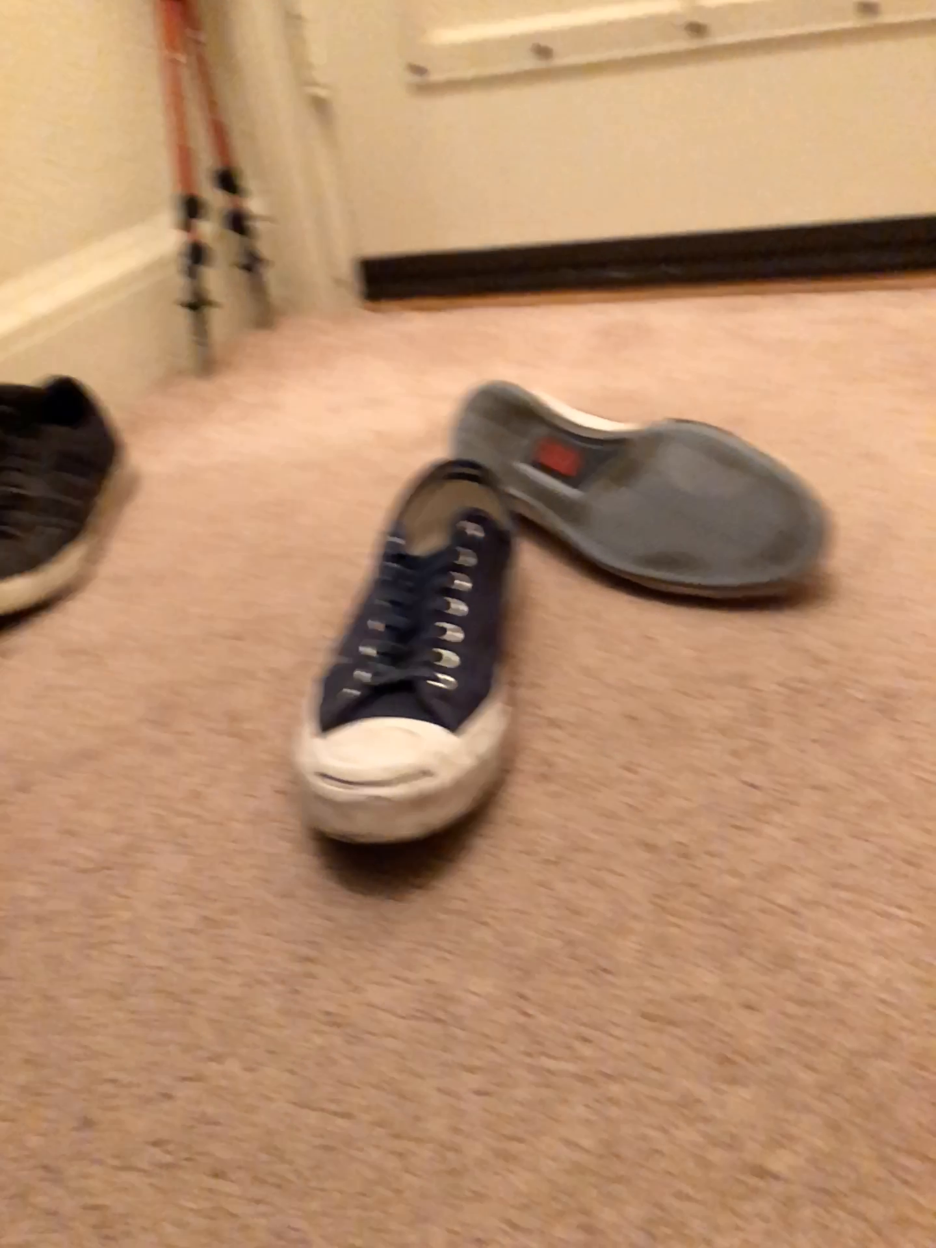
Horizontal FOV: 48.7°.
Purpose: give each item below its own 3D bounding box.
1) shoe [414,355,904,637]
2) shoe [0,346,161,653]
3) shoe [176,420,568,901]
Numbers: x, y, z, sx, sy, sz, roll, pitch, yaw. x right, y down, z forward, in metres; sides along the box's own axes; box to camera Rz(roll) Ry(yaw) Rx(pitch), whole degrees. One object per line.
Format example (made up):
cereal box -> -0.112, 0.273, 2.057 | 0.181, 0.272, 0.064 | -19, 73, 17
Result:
shoe -> 0.107, -0.092, 0.673 | 0.099, 0.104, 0.297 | -1, 20, -45
shoe -> -0.318, -0.107, 0.757 | 0.106, 0.098, 0.298 | -8, 31, 0
shoe -> -0.027, -0.002, 0.547 | 0.116, 0.098, 0.288 | -1, 34, 14
